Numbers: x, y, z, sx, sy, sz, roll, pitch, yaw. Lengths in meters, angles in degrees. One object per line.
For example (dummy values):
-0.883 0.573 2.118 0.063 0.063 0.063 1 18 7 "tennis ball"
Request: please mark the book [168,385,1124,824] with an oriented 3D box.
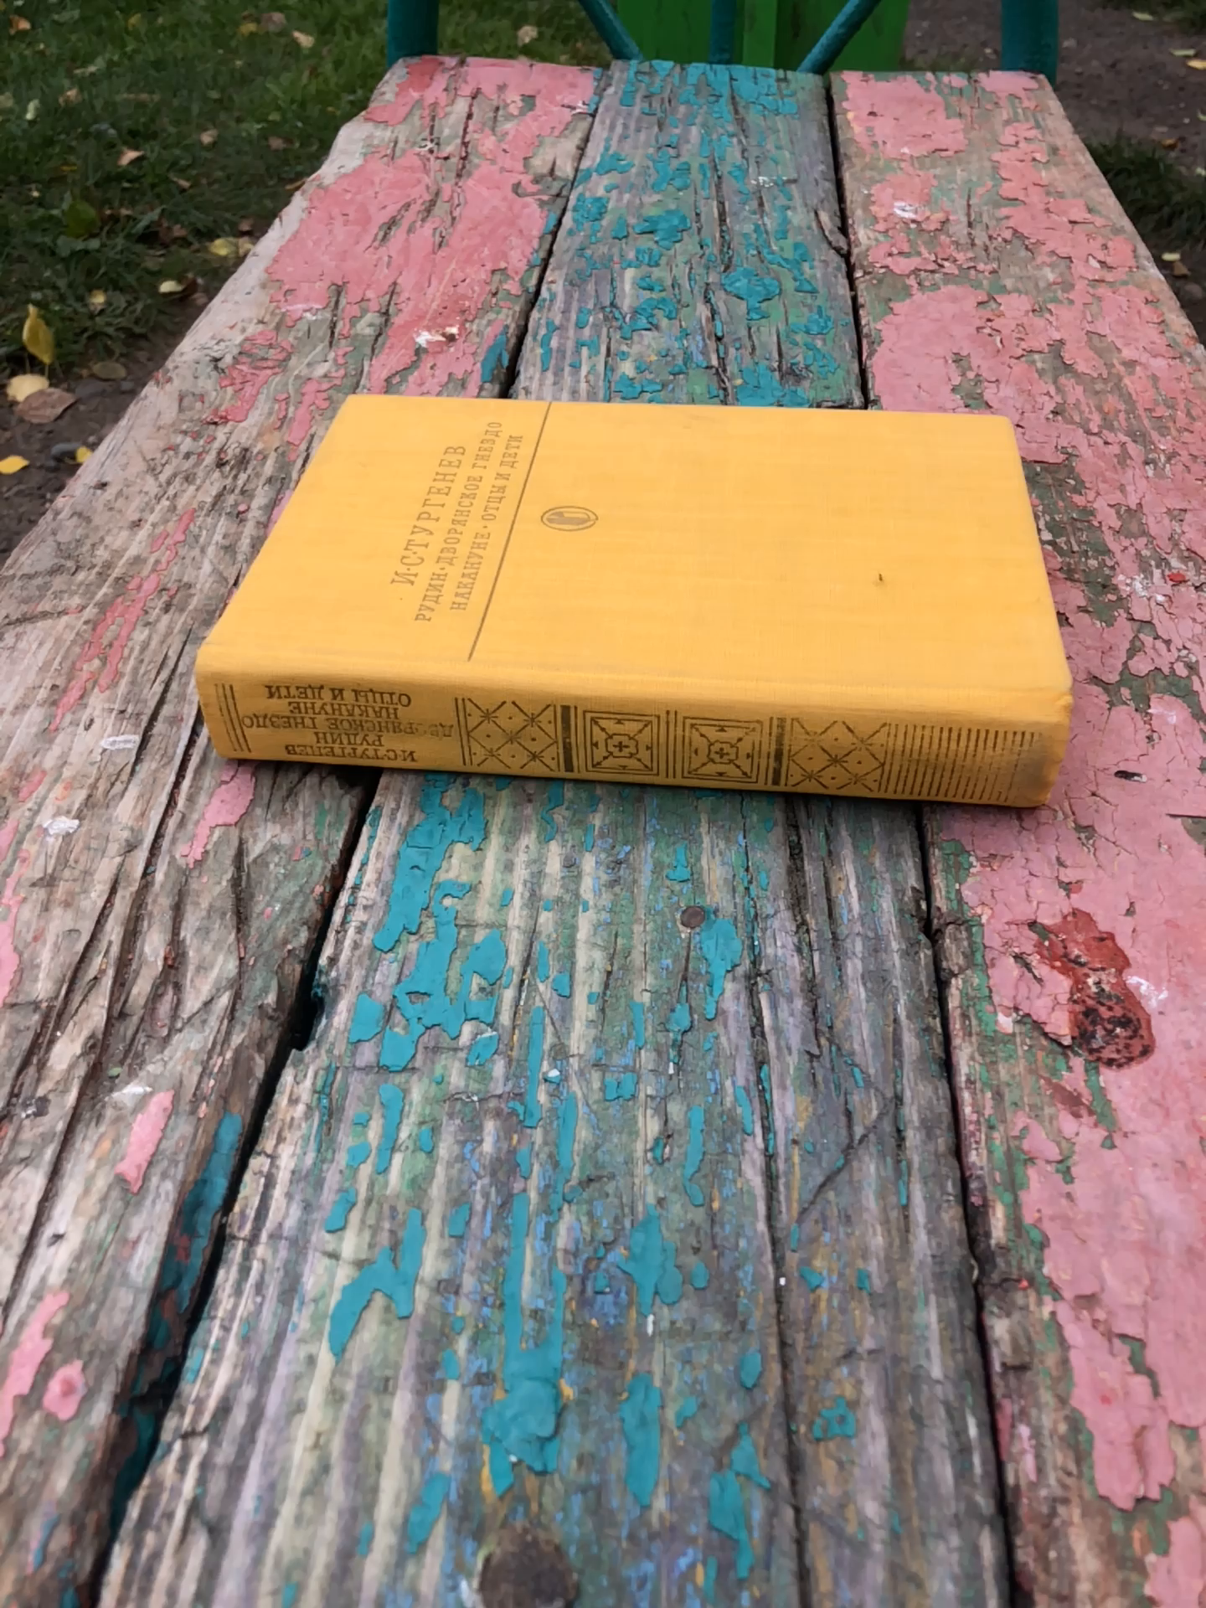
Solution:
0.015 -0.064 0.369 0.217 0.032 0.153 3 42 5 "book"
